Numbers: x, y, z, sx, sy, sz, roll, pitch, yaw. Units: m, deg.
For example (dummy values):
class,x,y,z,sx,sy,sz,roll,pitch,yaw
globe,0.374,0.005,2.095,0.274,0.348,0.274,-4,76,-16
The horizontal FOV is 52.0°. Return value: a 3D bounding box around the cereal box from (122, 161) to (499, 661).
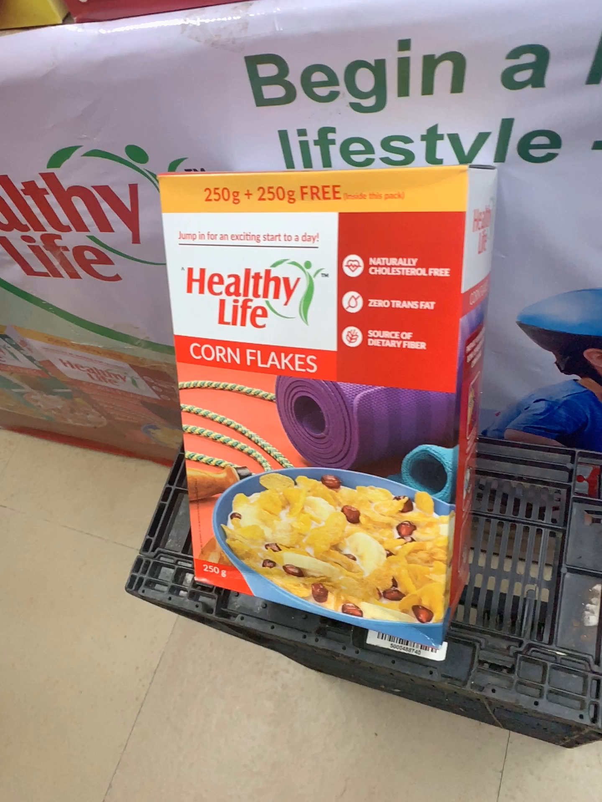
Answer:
class,x,y,z,sx,sy,sz,roll,pitch,yaw
cereal box,0.007,-0.002,0.404,0.201,0.280,0.090,8,21,24
